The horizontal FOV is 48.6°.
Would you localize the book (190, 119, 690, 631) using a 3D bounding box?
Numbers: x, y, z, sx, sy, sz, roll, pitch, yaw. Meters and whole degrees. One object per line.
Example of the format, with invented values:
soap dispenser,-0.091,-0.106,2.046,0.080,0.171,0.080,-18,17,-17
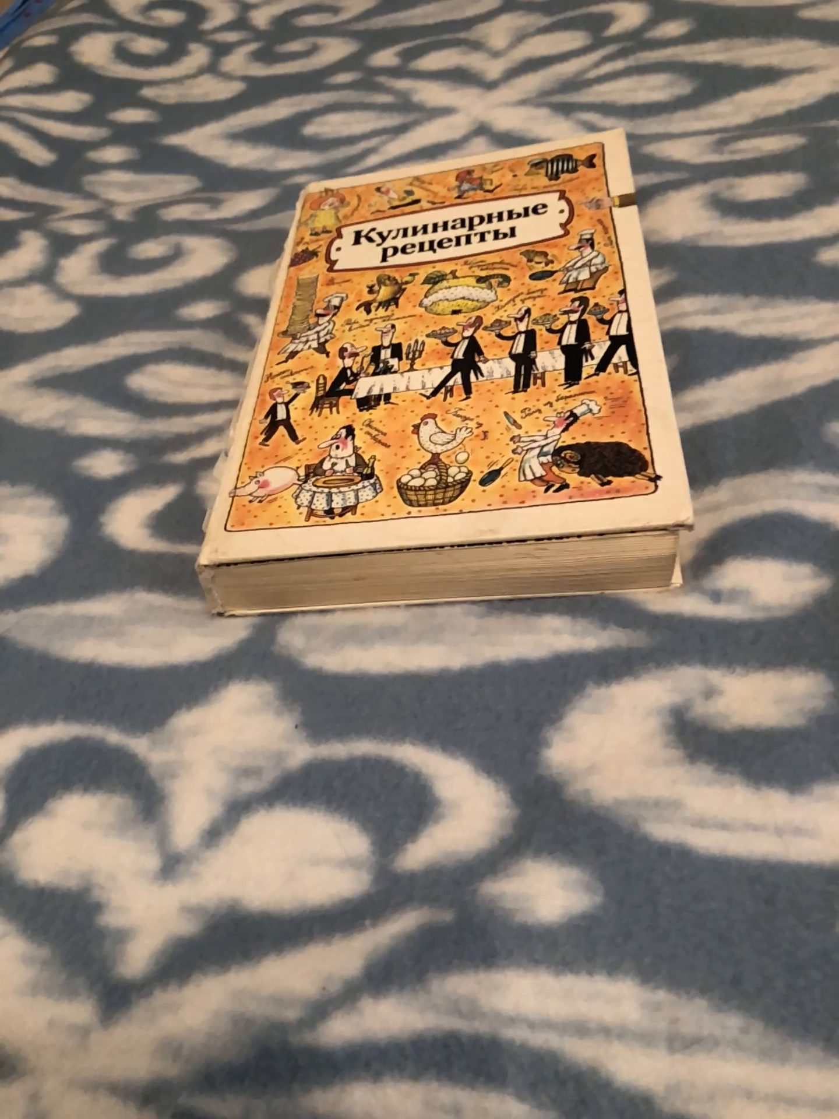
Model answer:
book,0.010,-0.080,0.340,0.141,0.032,0.221,-6,49,11
